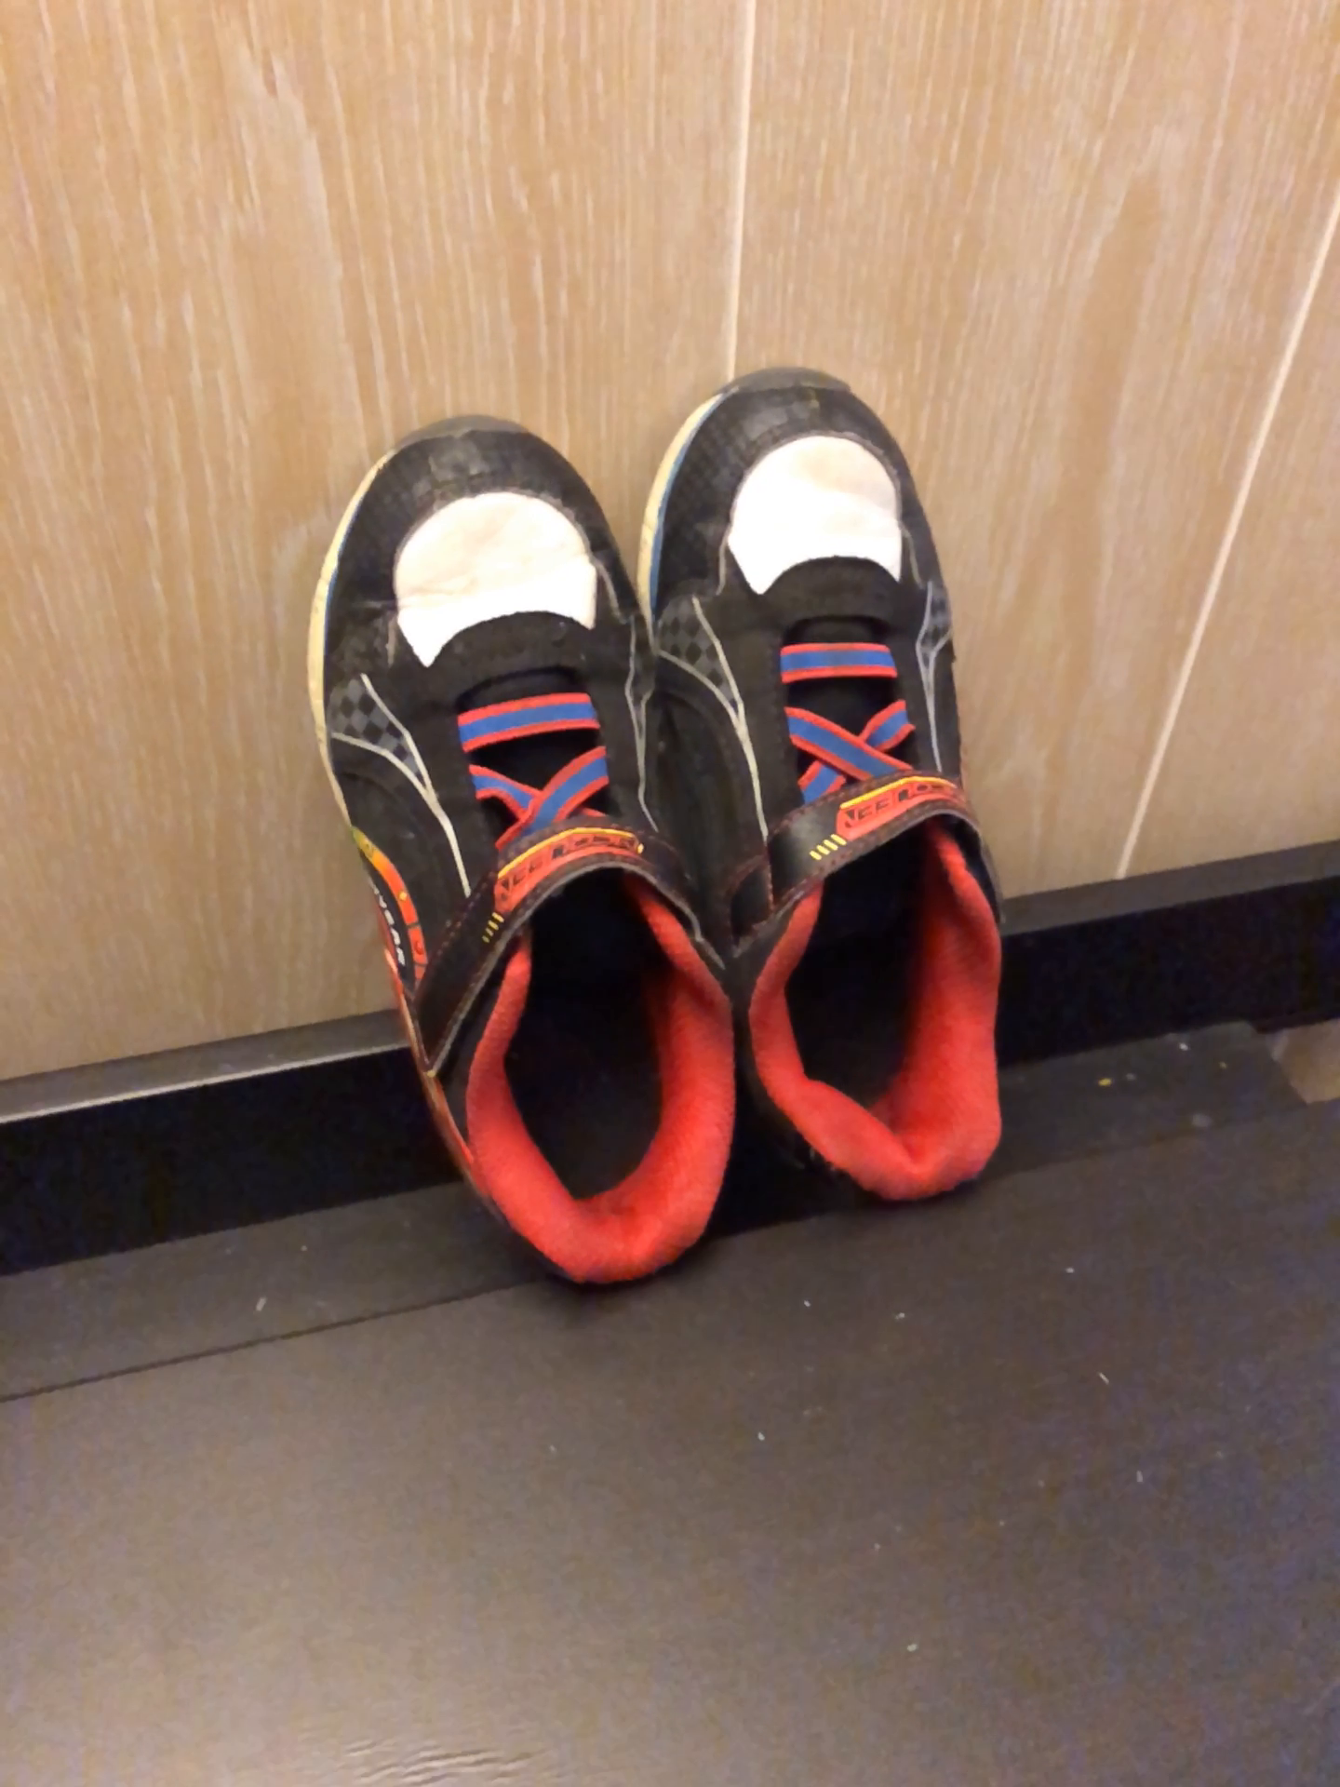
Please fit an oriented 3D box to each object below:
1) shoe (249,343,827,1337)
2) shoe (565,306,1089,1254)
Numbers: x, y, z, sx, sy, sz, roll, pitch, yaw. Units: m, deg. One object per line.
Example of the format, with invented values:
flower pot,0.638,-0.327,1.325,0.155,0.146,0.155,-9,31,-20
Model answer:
shoe,-0.033,-0.014,0.350,0.090,0.200,0.070,-10,1,-12
shoe,0.037,-0.029,0.380,0.090,0.210,0.070,-9,5,-11
